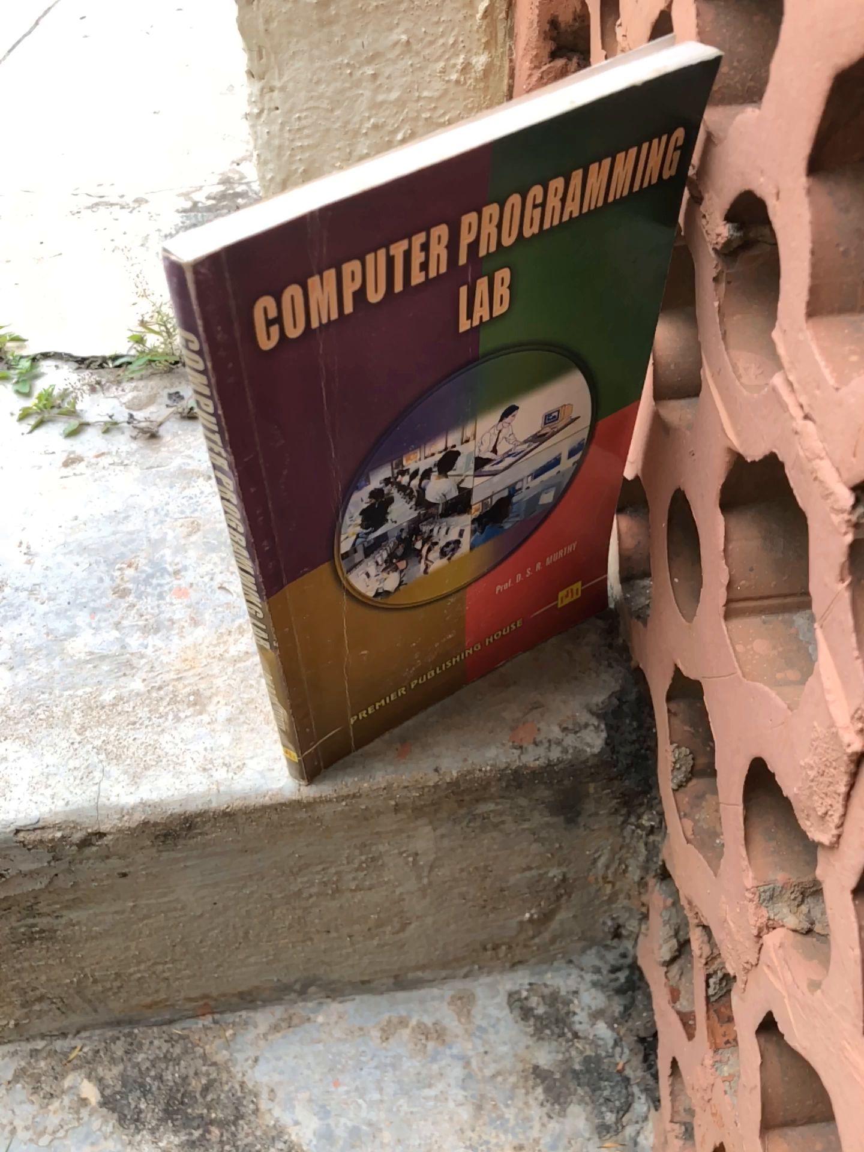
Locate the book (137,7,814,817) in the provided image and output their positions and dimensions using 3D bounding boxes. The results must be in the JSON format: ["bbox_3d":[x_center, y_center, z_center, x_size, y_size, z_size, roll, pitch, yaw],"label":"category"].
[{"bbox_3d":[0.017,-0.029,0.317,0.180,0.249,0.020,-30,59,-22],"label":"book"}]
